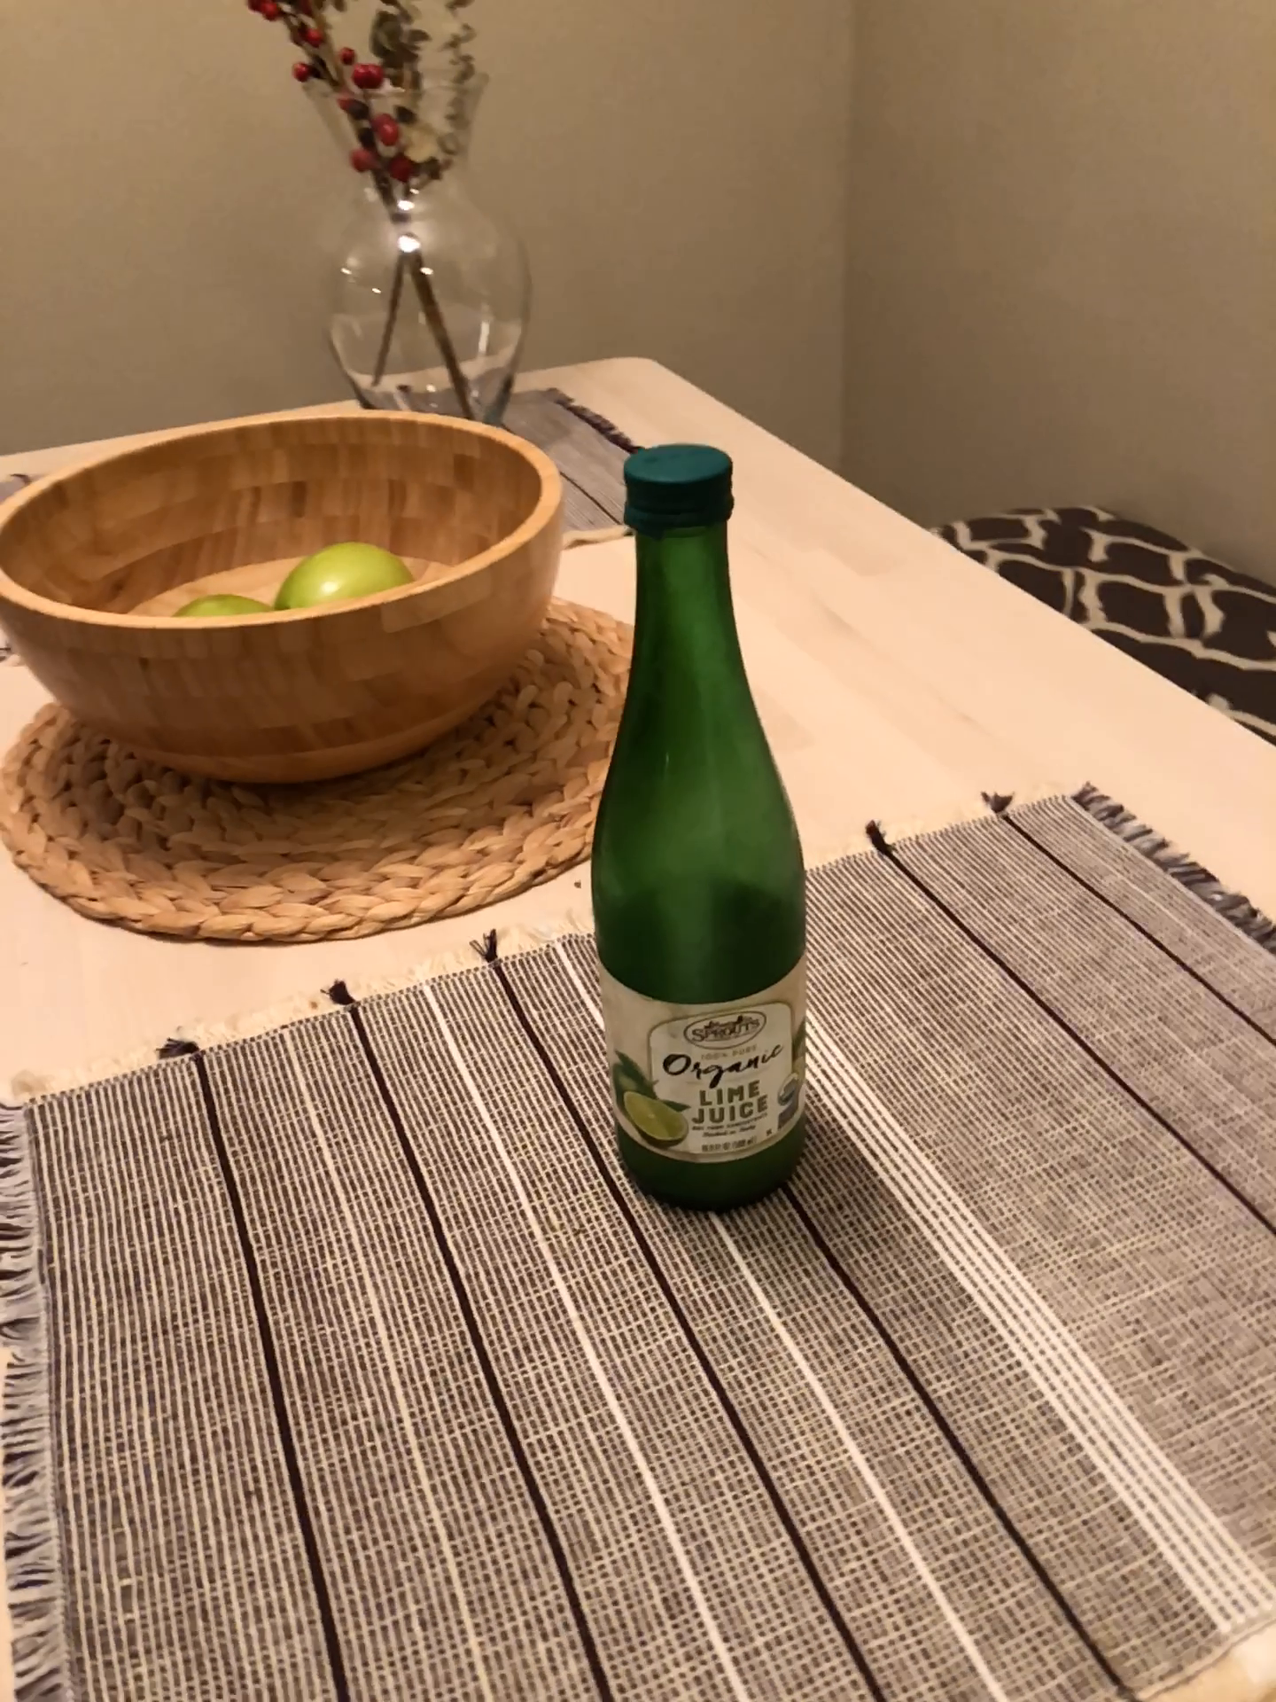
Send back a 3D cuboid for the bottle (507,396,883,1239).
[{"bbox_3d":[0.016,-0.002,0.422,0.080,0.236,0.081,-2,33,2],"label":"bottle"}]
